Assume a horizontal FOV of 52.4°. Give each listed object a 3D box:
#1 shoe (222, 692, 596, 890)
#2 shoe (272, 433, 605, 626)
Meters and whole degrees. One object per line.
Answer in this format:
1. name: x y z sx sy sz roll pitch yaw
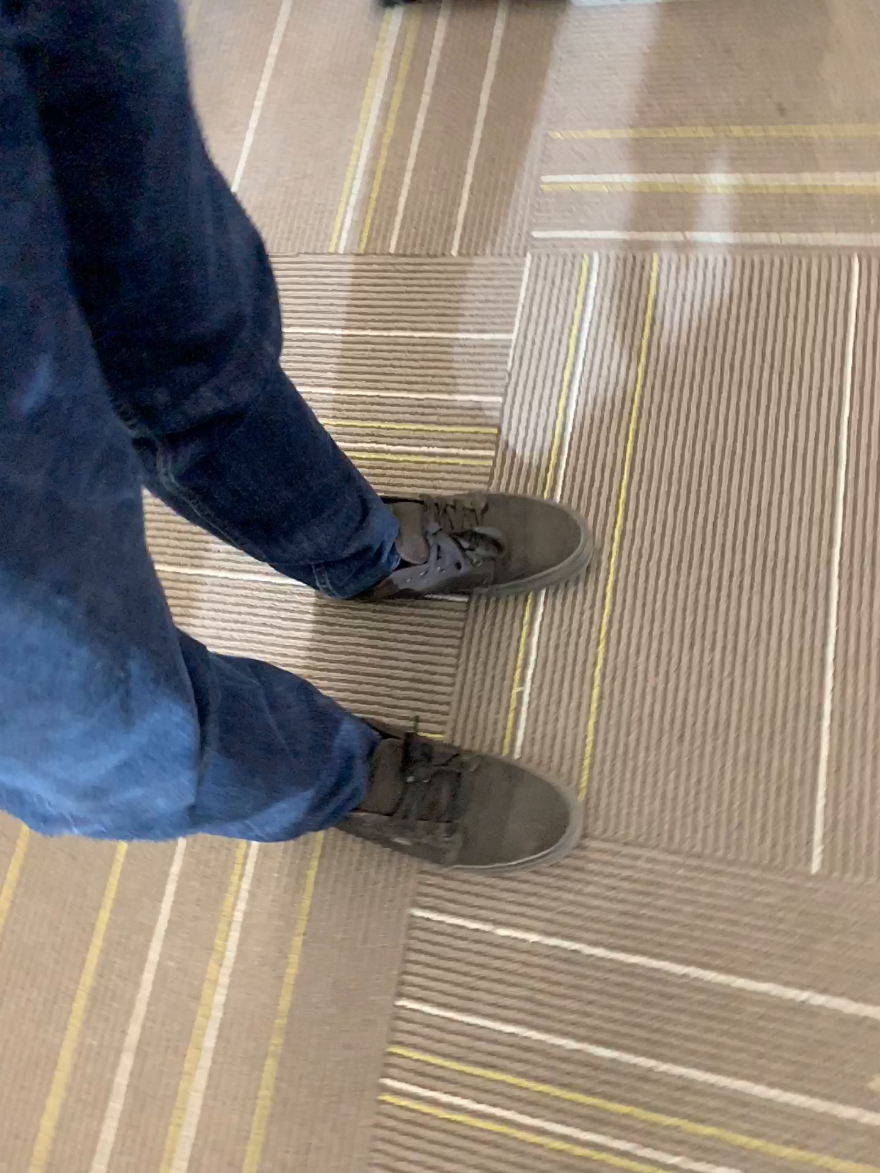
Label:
1. shoe: -0.021 0.177 0.778 0.291 0.113 0.109 7 74 16
2. shoe: 0.000 -0.047 0.848 0.291 0.113 0.109 -8 71 11
